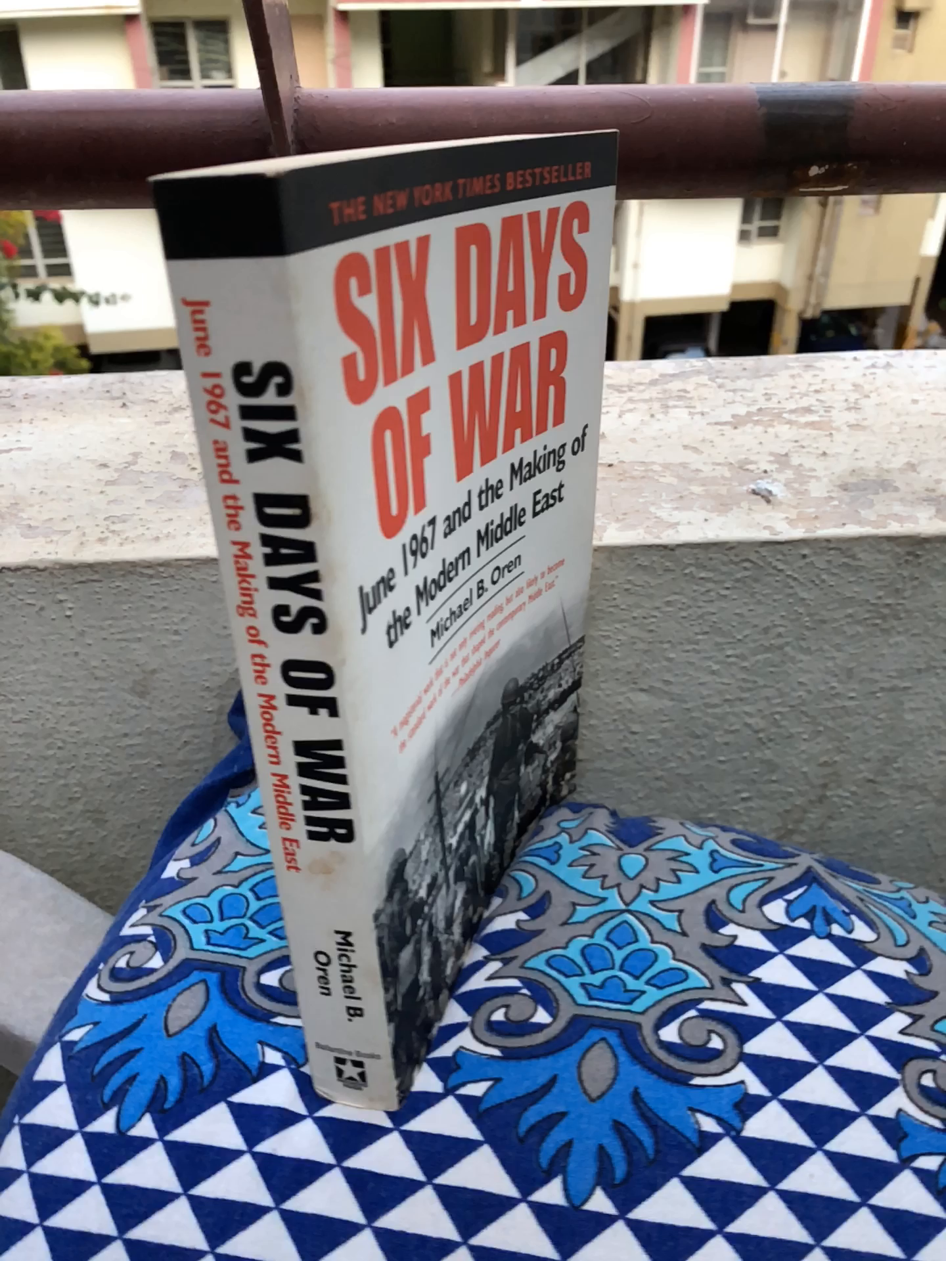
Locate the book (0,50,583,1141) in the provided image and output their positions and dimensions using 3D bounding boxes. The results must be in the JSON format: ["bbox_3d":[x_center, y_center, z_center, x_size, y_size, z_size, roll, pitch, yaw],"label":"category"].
[{"bbox_3d":[-0.016,-0.016,0.302,0.050,0.249,0.181,7,34,18],"label":"book"}]
